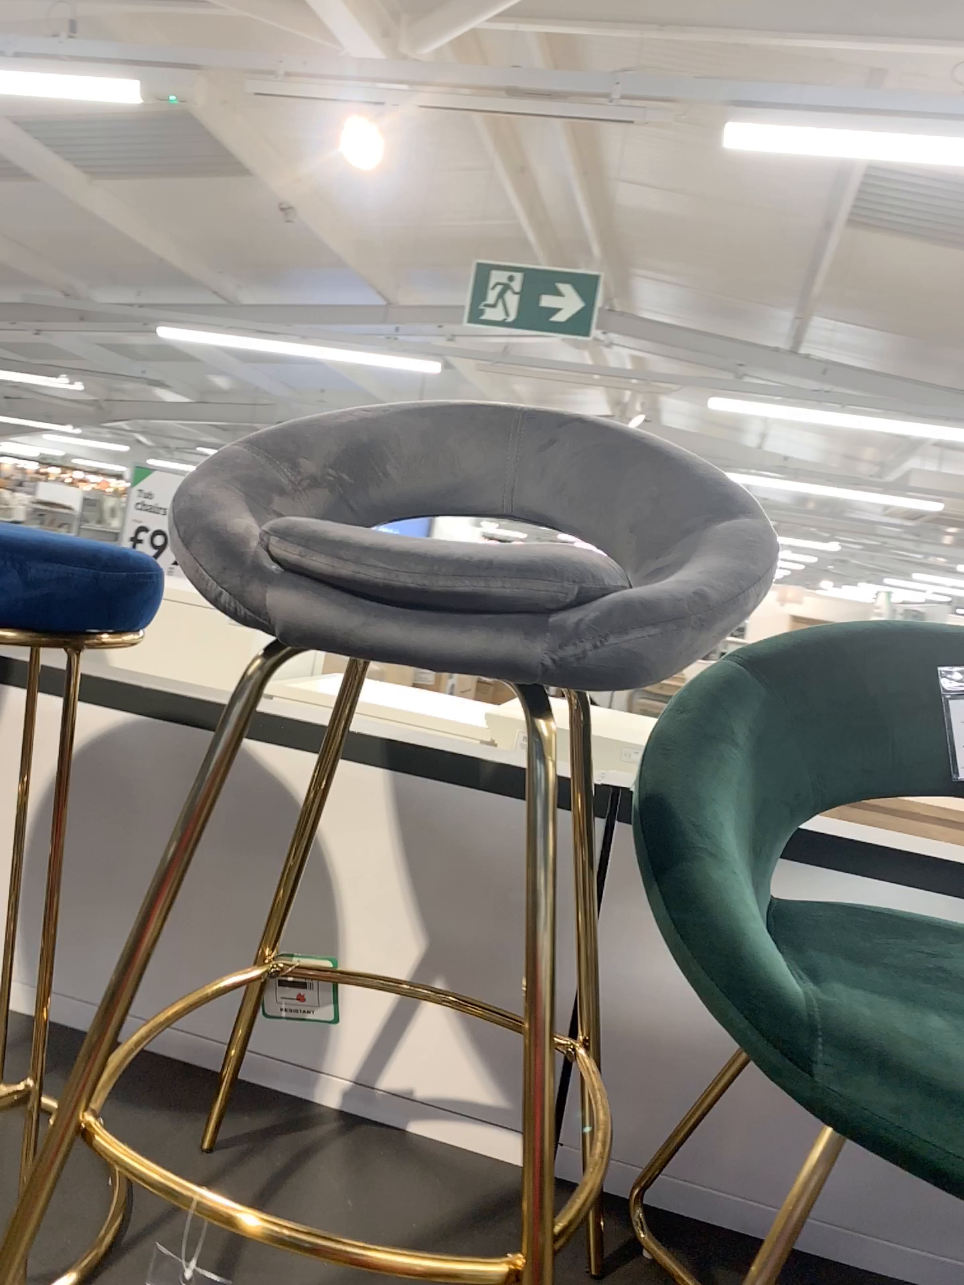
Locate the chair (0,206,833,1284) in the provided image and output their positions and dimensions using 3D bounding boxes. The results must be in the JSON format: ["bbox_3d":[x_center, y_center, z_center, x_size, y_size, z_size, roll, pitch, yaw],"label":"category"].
[{"bbox_3d":[-0.063,0.179,0.852,0.486,0.873,0.475,11,3,12],"label":"chair"}]
